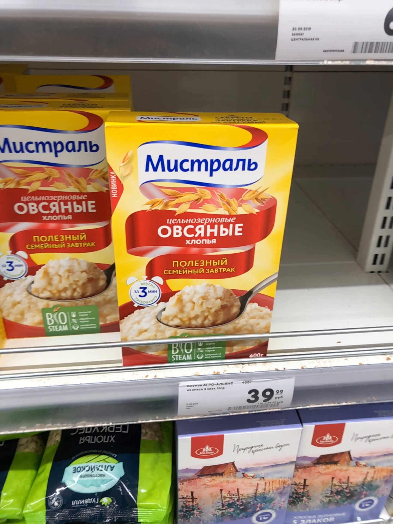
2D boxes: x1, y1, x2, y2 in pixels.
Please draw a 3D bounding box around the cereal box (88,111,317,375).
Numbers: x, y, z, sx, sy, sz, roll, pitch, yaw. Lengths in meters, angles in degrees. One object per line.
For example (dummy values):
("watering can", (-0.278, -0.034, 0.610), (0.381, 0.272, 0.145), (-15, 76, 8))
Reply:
("cereal box", (0.001, -0.009, 0.353), (0.150, 0.209, 0.050), (-2, 28, -6))
